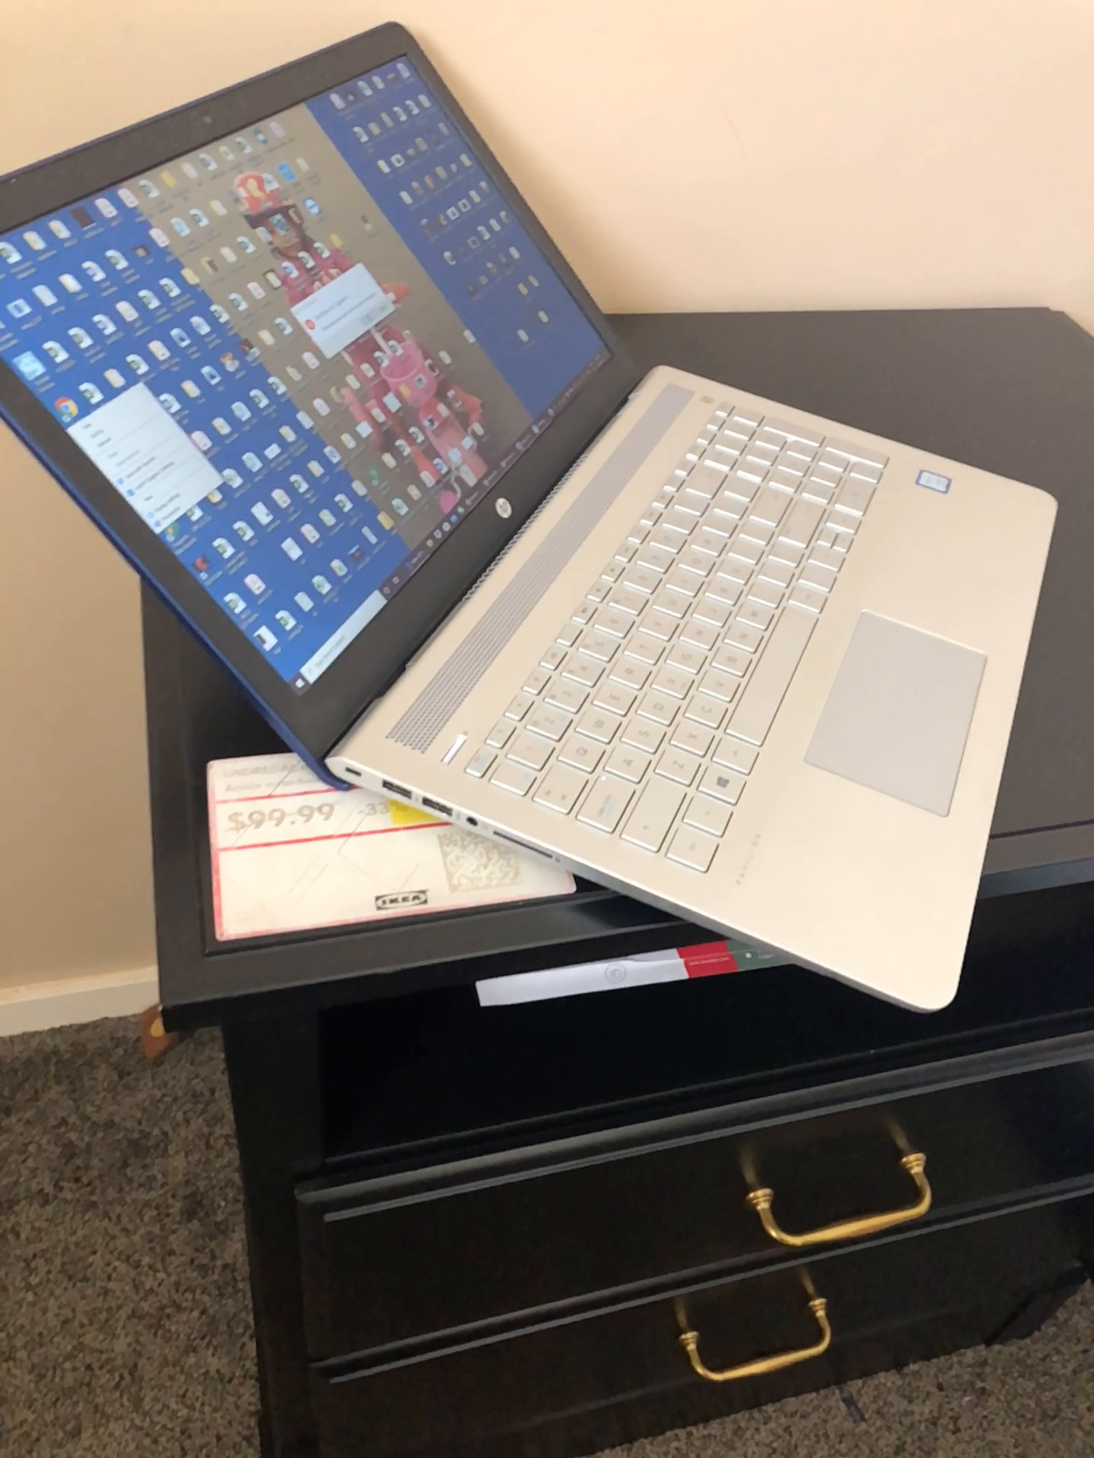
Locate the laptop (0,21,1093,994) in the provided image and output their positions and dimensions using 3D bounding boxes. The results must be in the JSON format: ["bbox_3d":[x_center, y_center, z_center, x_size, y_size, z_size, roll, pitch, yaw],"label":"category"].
[{"bbox_3d":[0.033,-0.146,0.528,0.400,0.141,0.367,22,45,11],"label":"laptop"}]
